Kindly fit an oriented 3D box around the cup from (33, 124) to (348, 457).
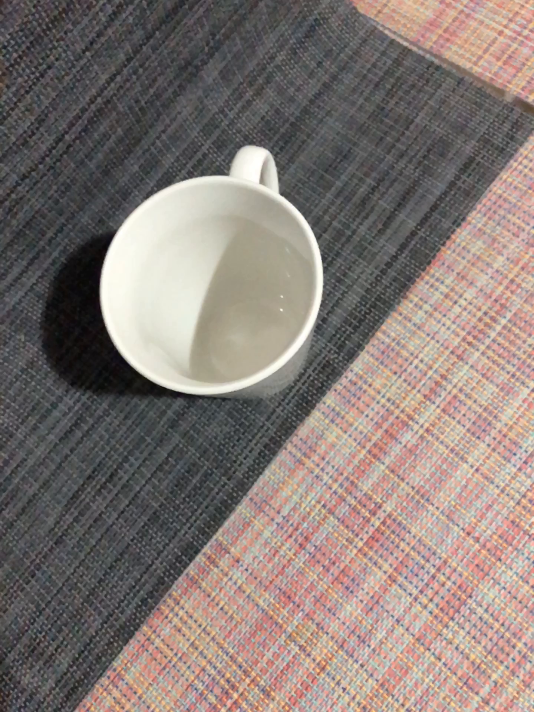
[{"bbox_3d":[-0.021,-0.021,0.261,0.096,0.096,0.112,7,78,10],"label":"cup"}]
